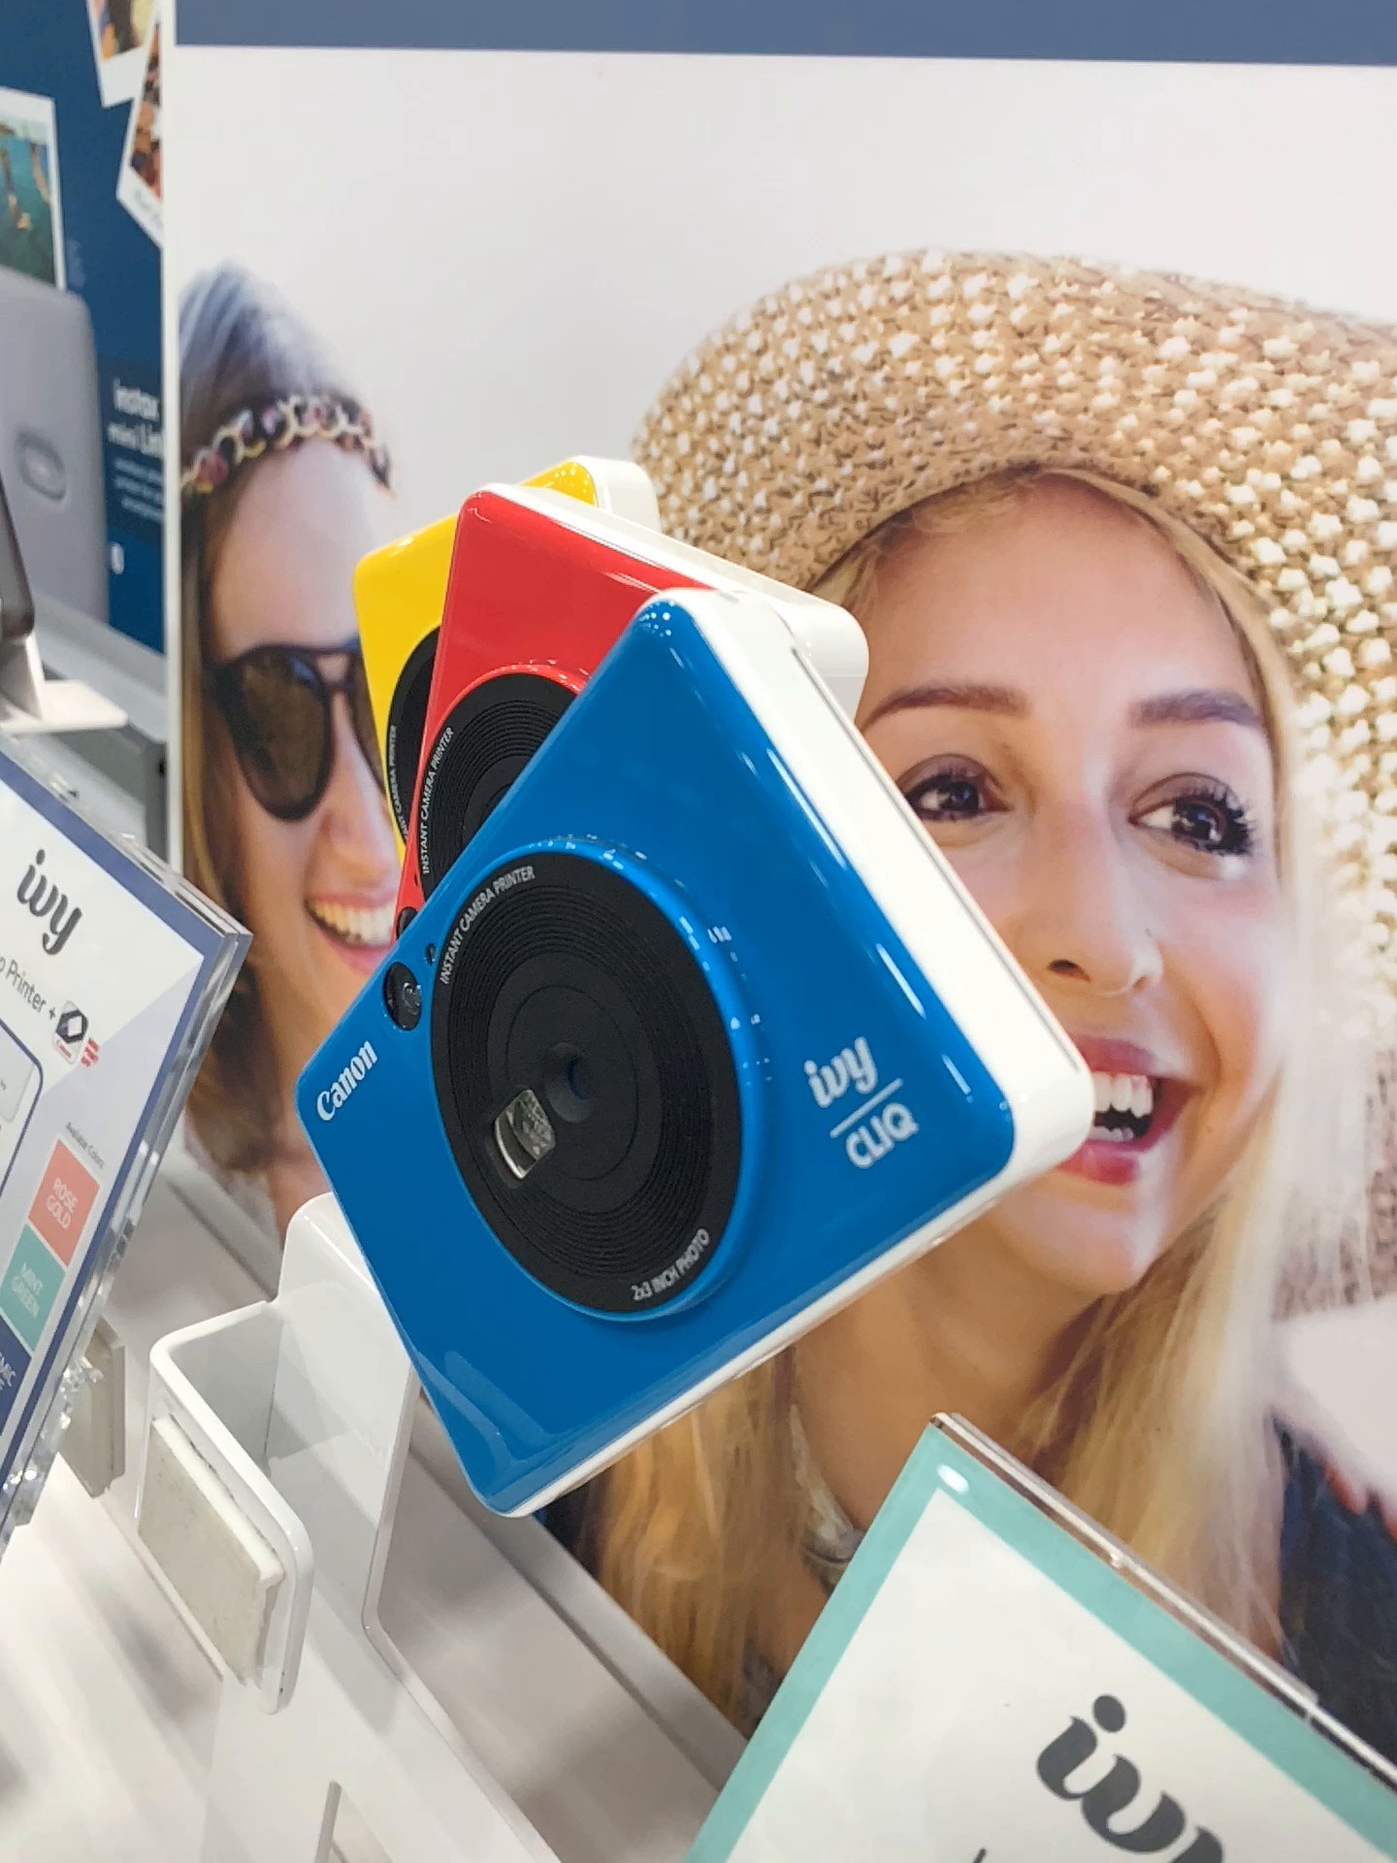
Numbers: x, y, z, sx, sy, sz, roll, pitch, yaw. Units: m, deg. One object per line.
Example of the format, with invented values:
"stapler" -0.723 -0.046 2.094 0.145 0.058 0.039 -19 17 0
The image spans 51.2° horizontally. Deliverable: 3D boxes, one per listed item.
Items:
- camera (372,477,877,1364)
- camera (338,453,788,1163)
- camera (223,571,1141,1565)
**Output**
"camera" -0.019 -0.003 0.237 0.030 0.123 0.067 -12 35 -39
"camera" -0.028 -0.022 0.287 0.030 0.123 0.068 -18 9 -37
"camera" -0.014 0.023 0.188 0.030 0.113 0.078 -14 66 -45
